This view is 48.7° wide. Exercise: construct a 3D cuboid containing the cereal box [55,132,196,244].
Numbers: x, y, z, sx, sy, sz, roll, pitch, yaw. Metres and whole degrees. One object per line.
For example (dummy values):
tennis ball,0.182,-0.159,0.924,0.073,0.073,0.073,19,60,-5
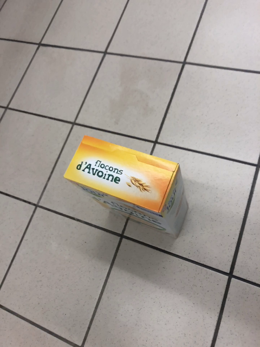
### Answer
cereal box,0.011,0.034,0.458,0.160,0.210,0.070,19,75,21
